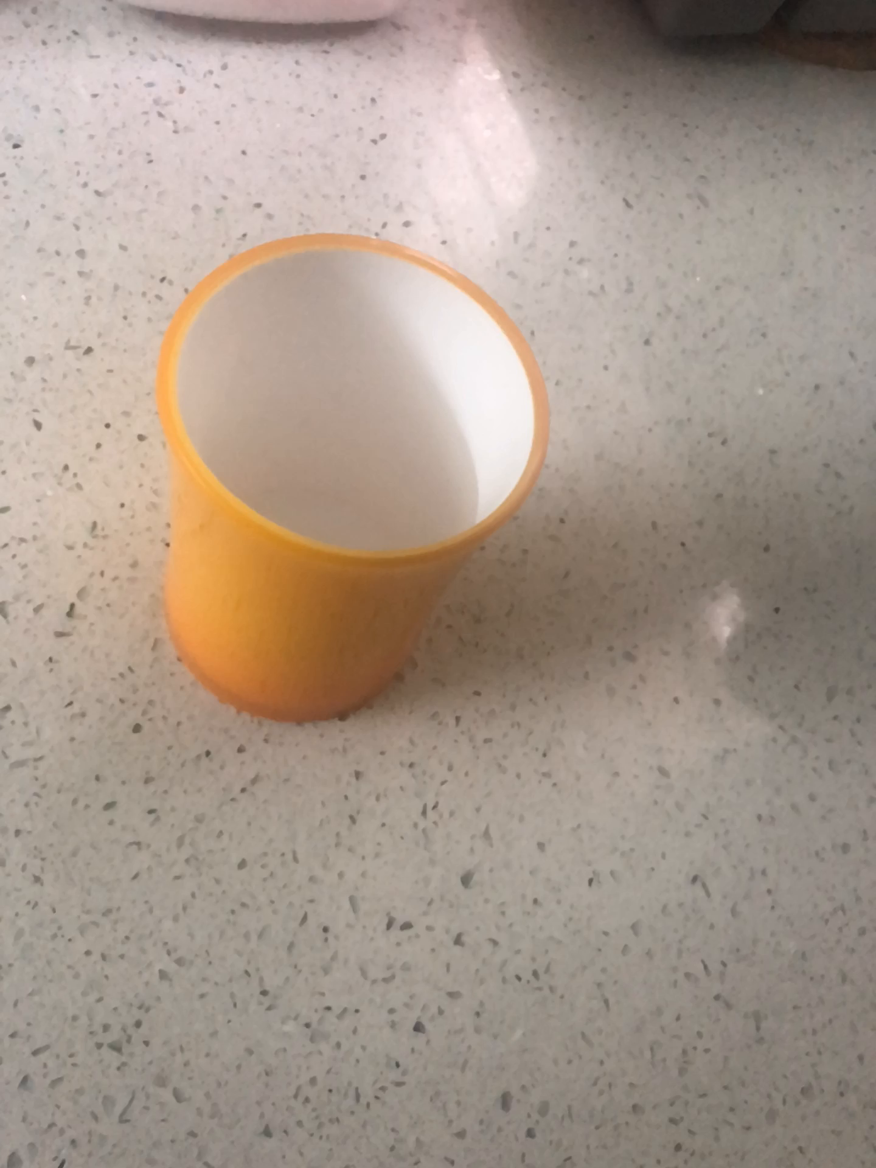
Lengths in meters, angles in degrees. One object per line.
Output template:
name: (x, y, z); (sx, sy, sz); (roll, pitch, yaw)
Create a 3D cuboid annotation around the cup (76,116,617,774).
cup: (-0.023, -0.018, 0.217); (0.080, 0.110, 0.080); (6, 64, -13)
